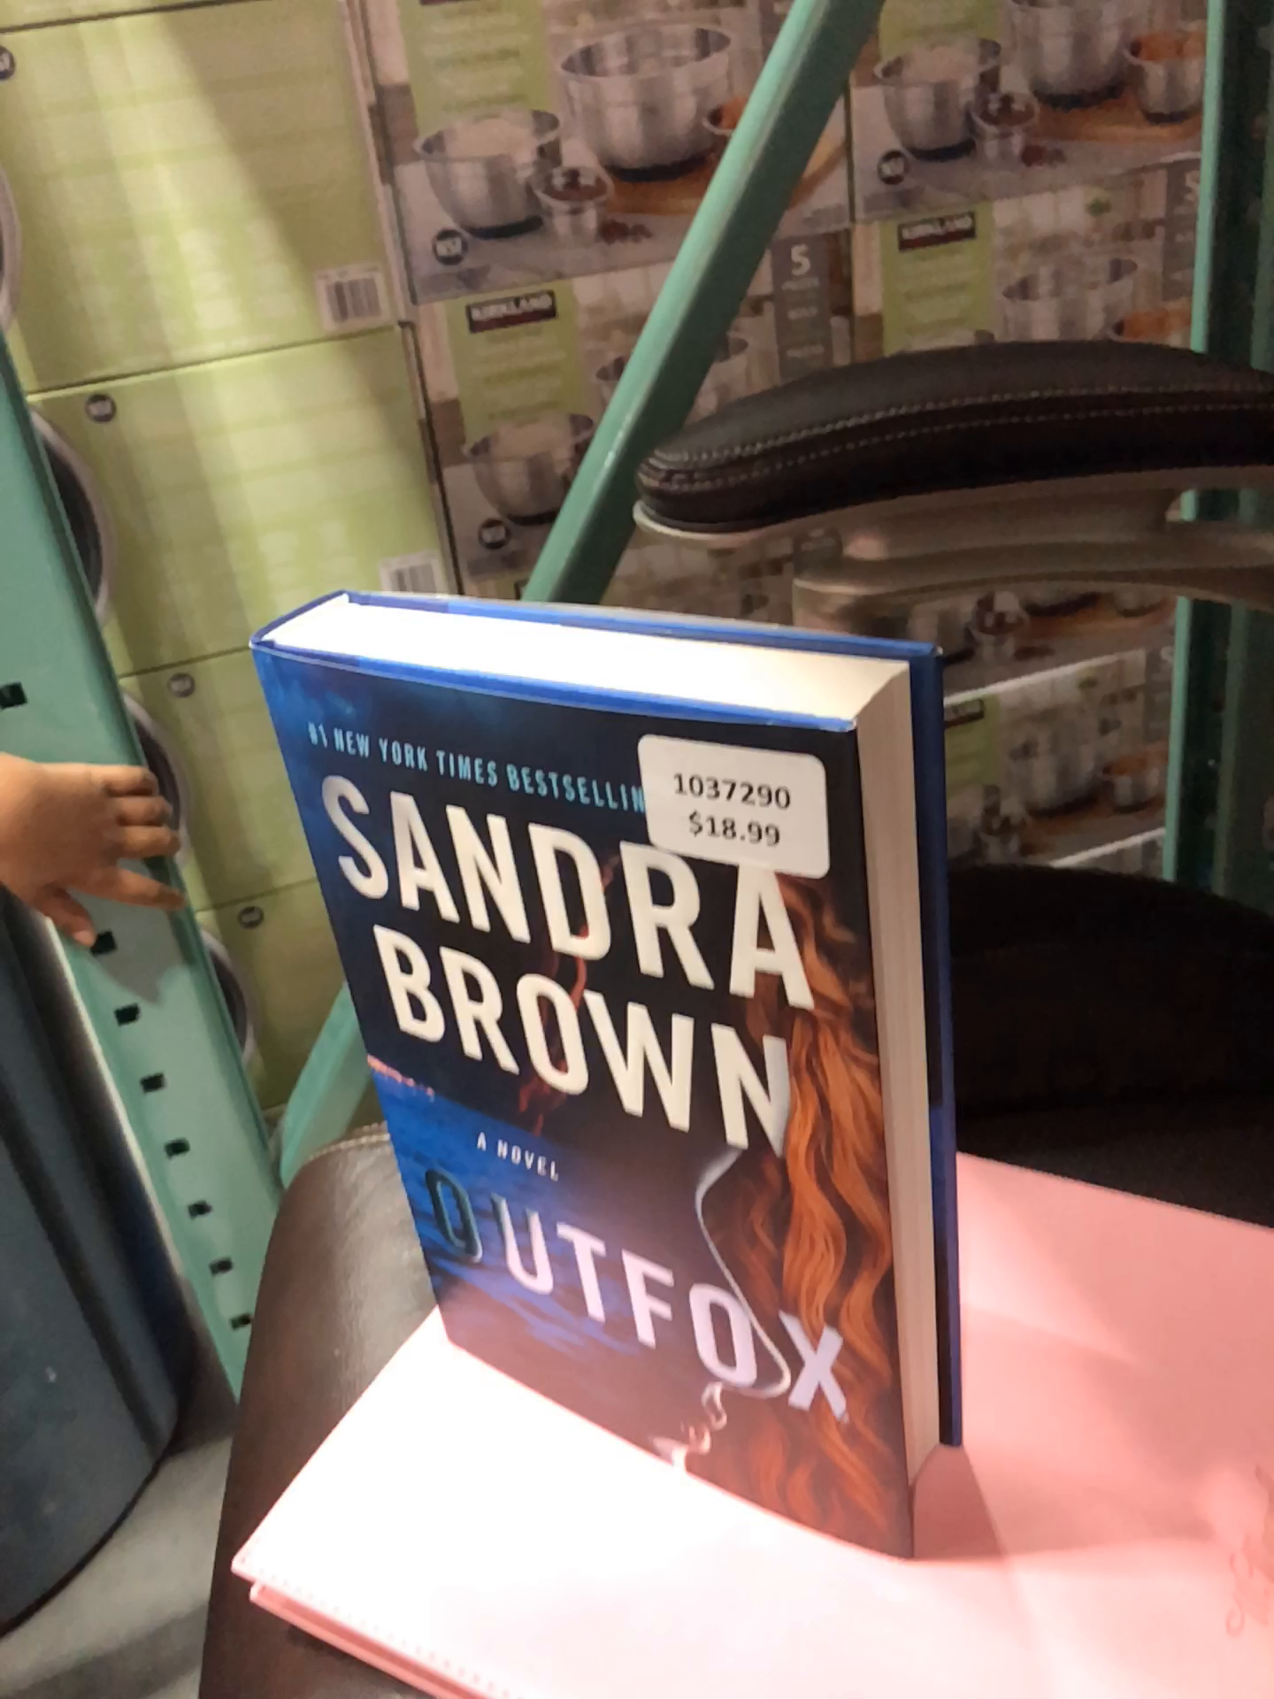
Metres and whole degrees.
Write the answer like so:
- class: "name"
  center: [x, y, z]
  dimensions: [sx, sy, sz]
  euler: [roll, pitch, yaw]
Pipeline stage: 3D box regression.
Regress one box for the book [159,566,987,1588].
- class: "book"
  center: [-0.007, 0.054, 0.346]
  dimensions: [0.168, 0.228, 0.048]
  euler: [12, 37, 33]
